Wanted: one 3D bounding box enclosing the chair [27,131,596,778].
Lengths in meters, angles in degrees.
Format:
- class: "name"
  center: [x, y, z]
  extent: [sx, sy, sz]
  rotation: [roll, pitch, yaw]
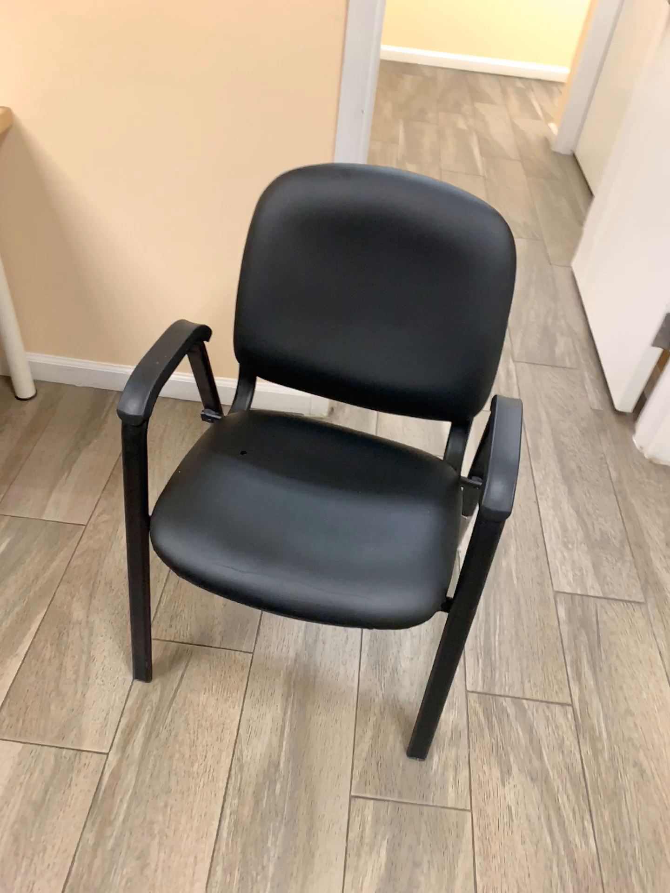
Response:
- class: "chair"
  center: [0.000, 0.024, 1.190]
  extent: [0.605, 0.817, 0.608]
  rotation: [14, 43, 7]
